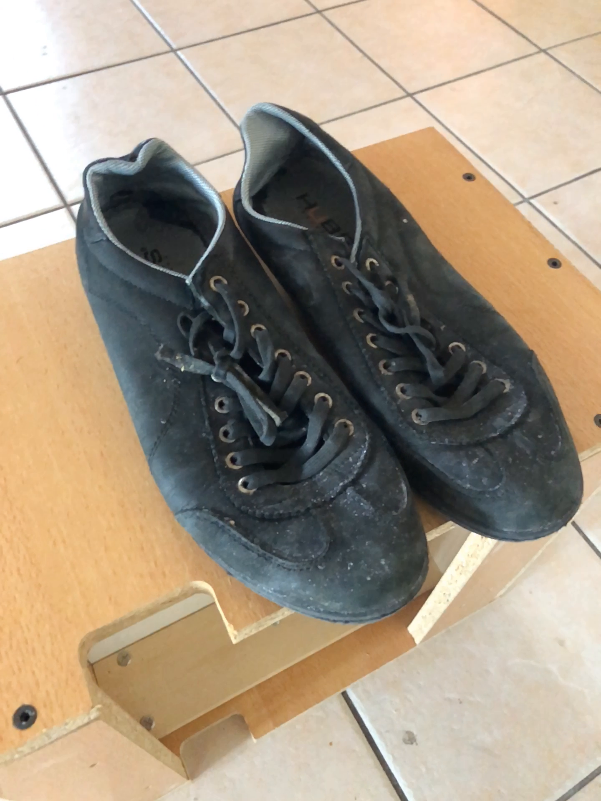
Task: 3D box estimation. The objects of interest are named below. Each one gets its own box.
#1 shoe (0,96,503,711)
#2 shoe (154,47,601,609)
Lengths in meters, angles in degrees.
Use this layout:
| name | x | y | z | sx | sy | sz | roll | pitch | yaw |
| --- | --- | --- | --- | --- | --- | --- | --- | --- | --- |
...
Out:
| name | x | y | z | sx | sy | sz | roll | pitch | yaw |
| --- | --- | --- | --- | --- | --- | --- | --- | --- | --- |
| shoe | -0.051 | -0.021 | 0.338 | 0.110 | 0.089 | 0.301 | -26 | 62 | -19 |
| shoe | 0.042 | -0.061 | 0.365 | 0.110 | 0.089 | 0.311 | -26 | 62 | -19 |
